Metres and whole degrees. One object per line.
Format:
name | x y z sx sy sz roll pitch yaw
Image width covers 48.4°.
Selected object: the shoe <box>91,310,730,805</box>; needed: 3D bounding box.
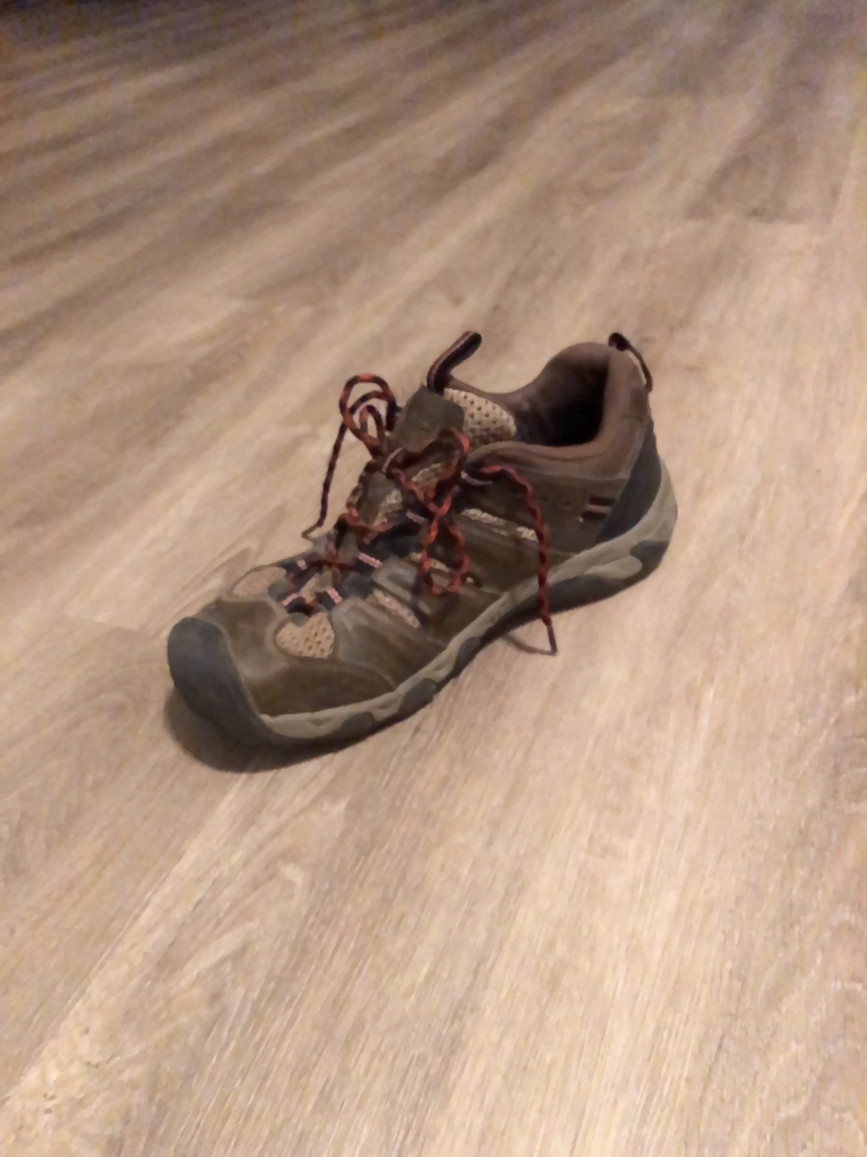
shoe | 0.000 -0.027 0.458 0.270 0.099 0.110 -26 41 -25
